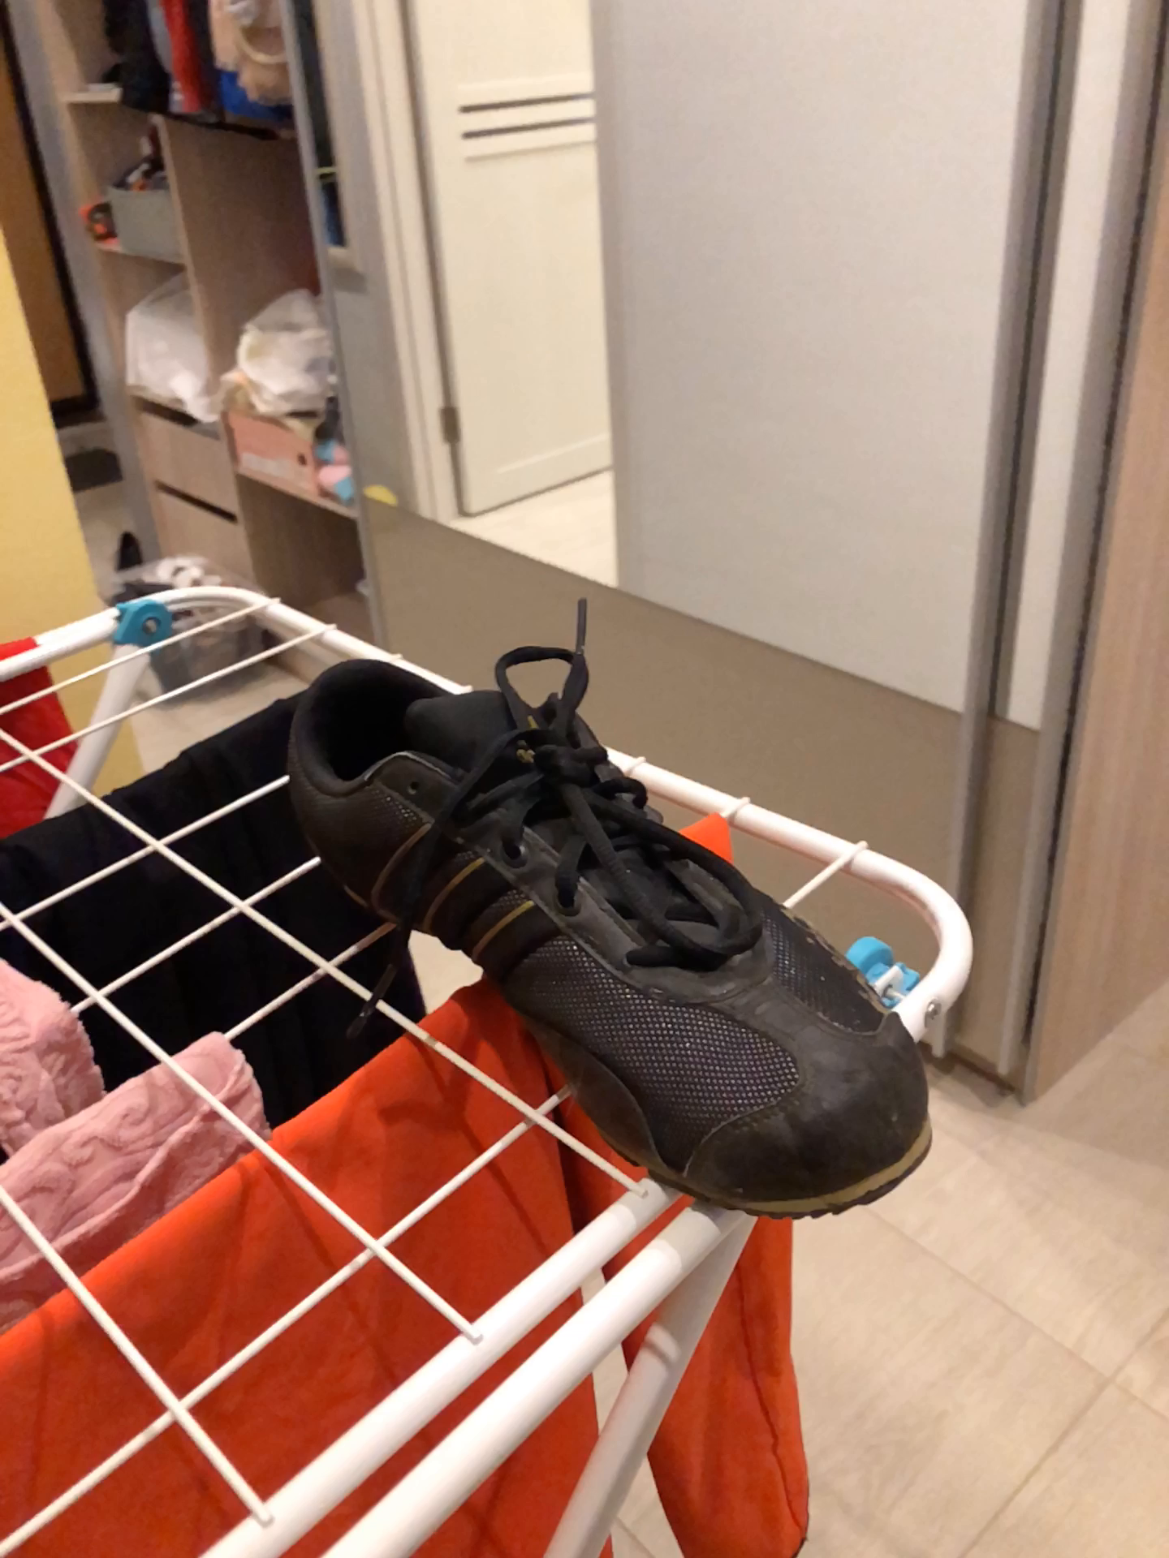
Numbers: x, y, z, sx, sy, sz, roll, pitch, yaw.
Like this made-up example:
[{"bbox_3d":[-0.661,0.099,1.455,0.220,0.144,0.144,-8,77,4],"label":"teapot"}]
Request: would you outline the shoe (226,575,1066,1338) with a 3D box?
[{"bbox_3d":[0.000,0.028,0.402,0.099,0.099,0.261,-25,35,-32],"label":"shoe"}]
